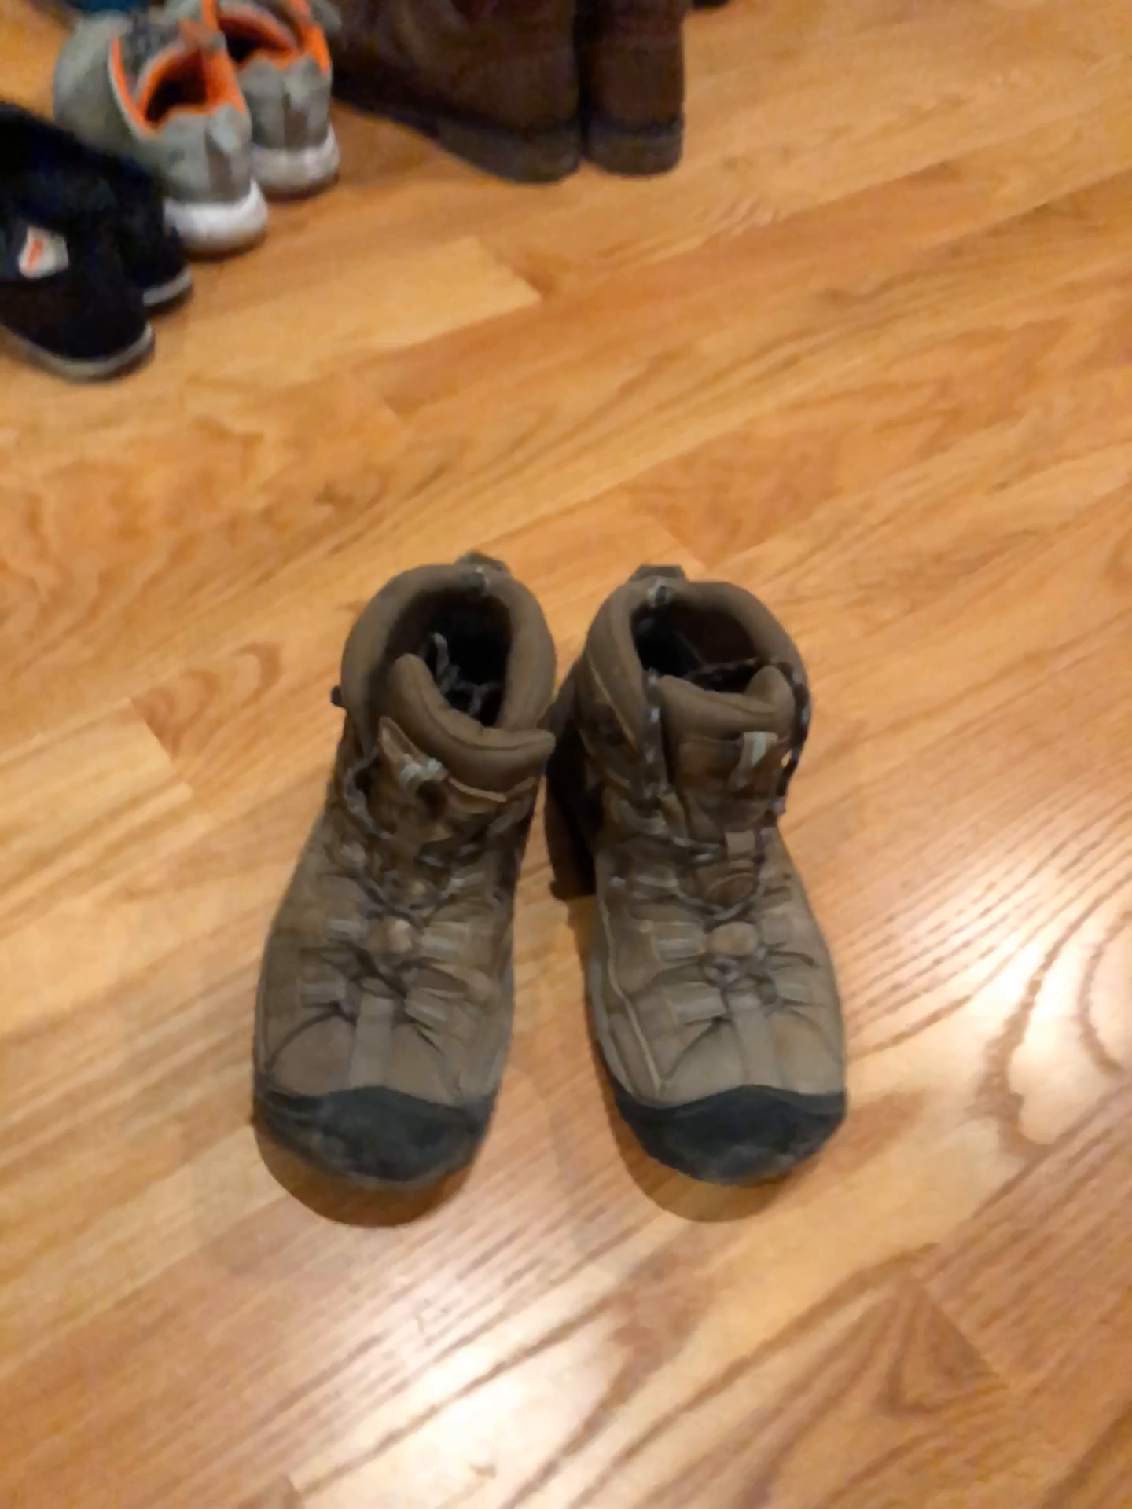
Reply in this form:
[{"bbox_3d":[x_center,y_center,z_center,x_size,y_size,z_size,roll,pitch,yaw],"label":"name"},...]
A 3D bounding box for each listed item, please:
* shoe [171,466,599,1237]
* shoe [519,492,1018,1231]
[{"bbox_3d":[-0.058,0.032,0.499,0.107,0.139,0.261,8,53,-3],"label":"shoe"},{"bbox_3d":[0.059,0.035,0.515,0.107,0.139,0.261,-4,54,-12],"label":"shoe"}]
